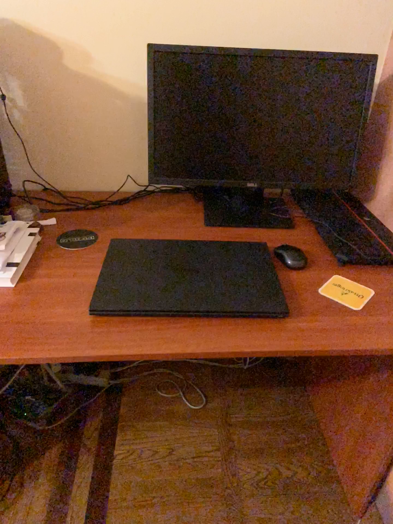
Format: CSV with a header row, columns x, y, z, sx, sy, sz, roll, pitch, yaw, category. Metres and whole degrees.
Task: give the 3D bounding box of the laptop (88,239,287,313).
x,y,z,sx,sy,sz,roll,pitch,yaw,category
-0.015,0.020,0.825,0.359,0.002,0.249,2,33,-3,laptop
